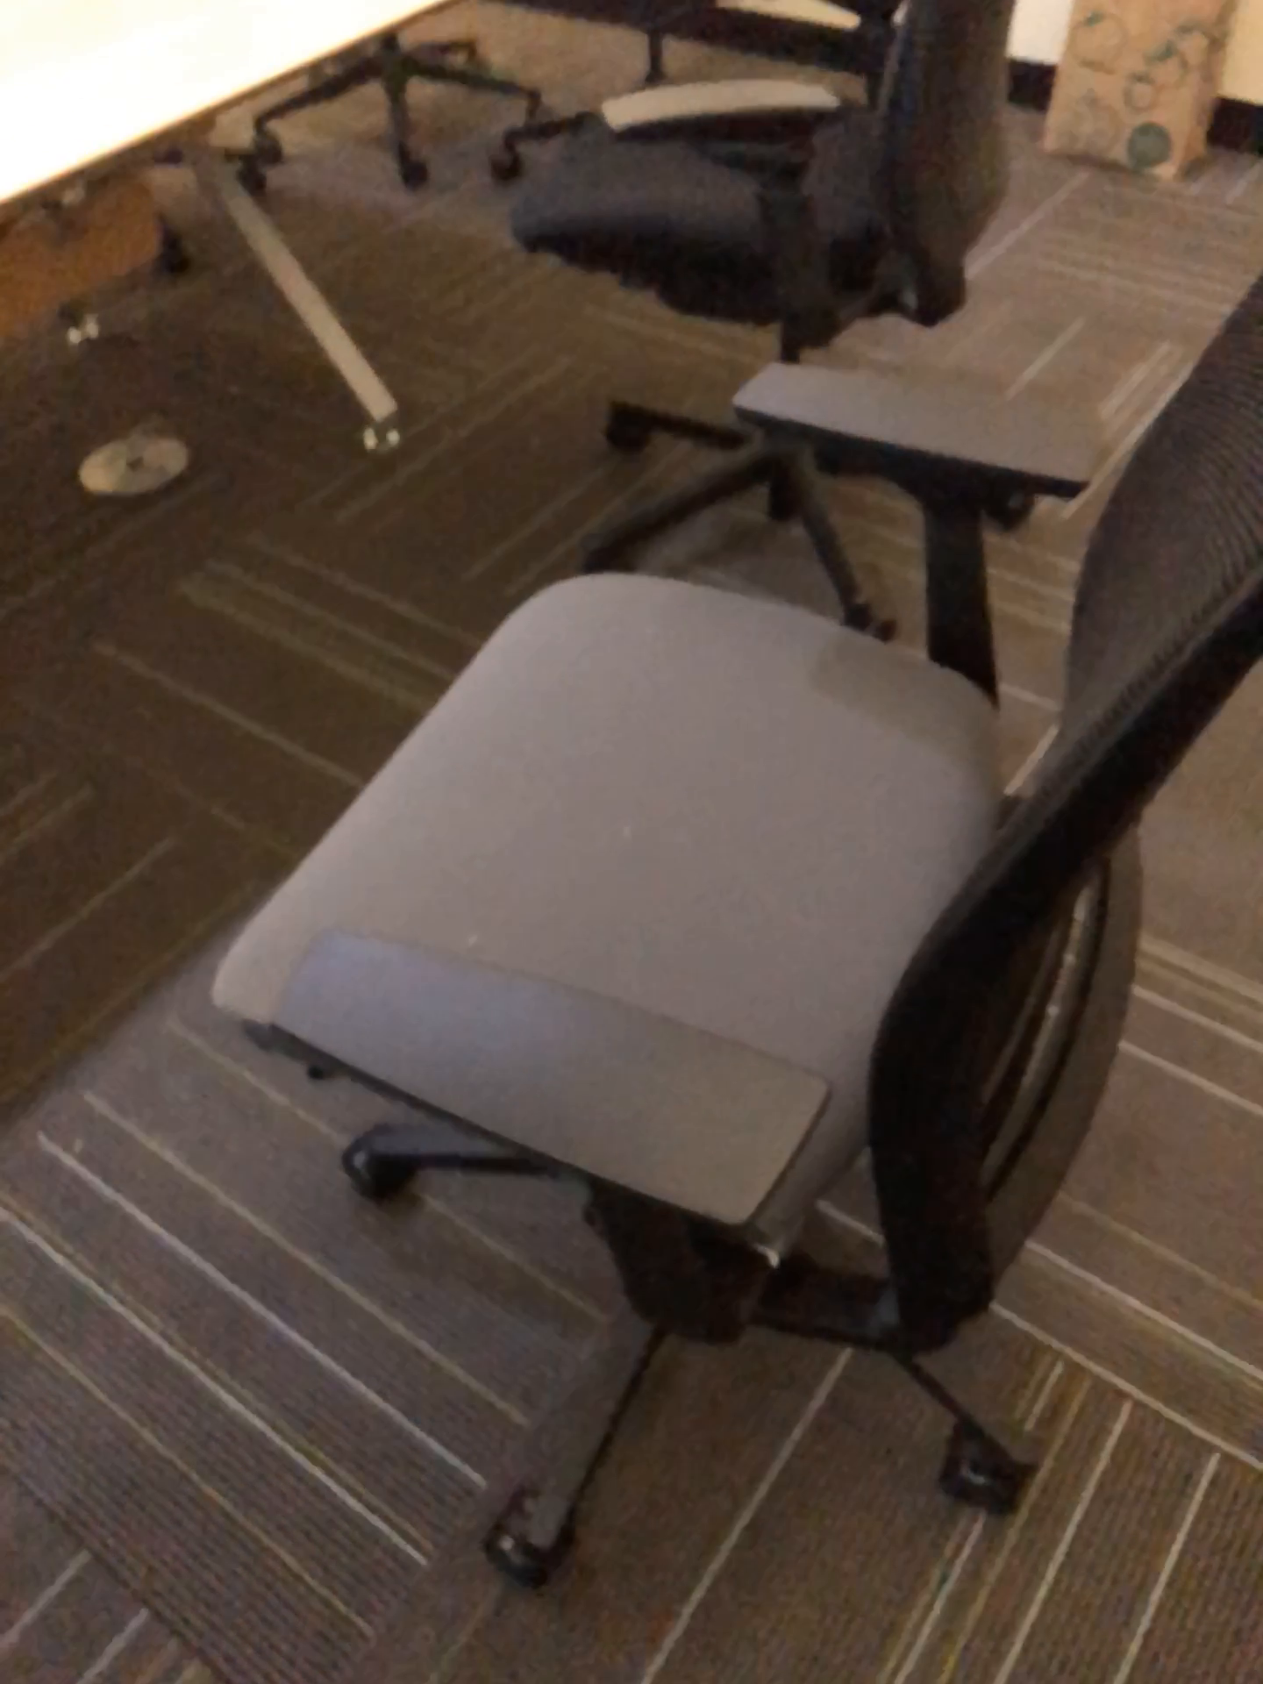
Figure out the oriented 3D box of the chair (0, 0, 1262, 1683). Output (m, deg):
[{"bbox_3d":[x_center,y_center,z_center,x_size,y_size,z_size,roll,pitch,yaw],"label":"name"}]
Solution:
[{"bbox_3d":[0.065,-0.021,0.894,0.661,0.856,0.722,14,48,17],"label":"chair"}]
